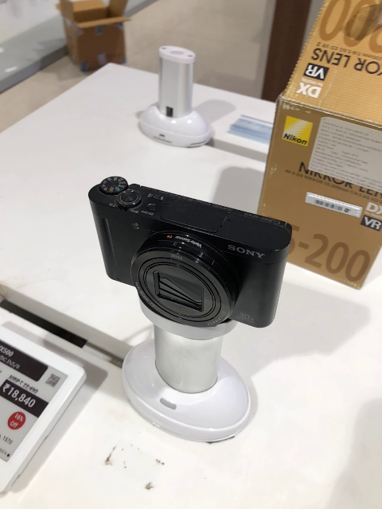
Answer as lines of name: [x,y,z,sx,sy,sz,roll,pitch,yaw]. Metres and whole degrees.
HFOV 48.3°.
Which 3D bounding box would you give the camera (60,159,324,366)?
camera: [-0.002,0.004,0.208,0.110,0.070,0.030,18,48,15]
